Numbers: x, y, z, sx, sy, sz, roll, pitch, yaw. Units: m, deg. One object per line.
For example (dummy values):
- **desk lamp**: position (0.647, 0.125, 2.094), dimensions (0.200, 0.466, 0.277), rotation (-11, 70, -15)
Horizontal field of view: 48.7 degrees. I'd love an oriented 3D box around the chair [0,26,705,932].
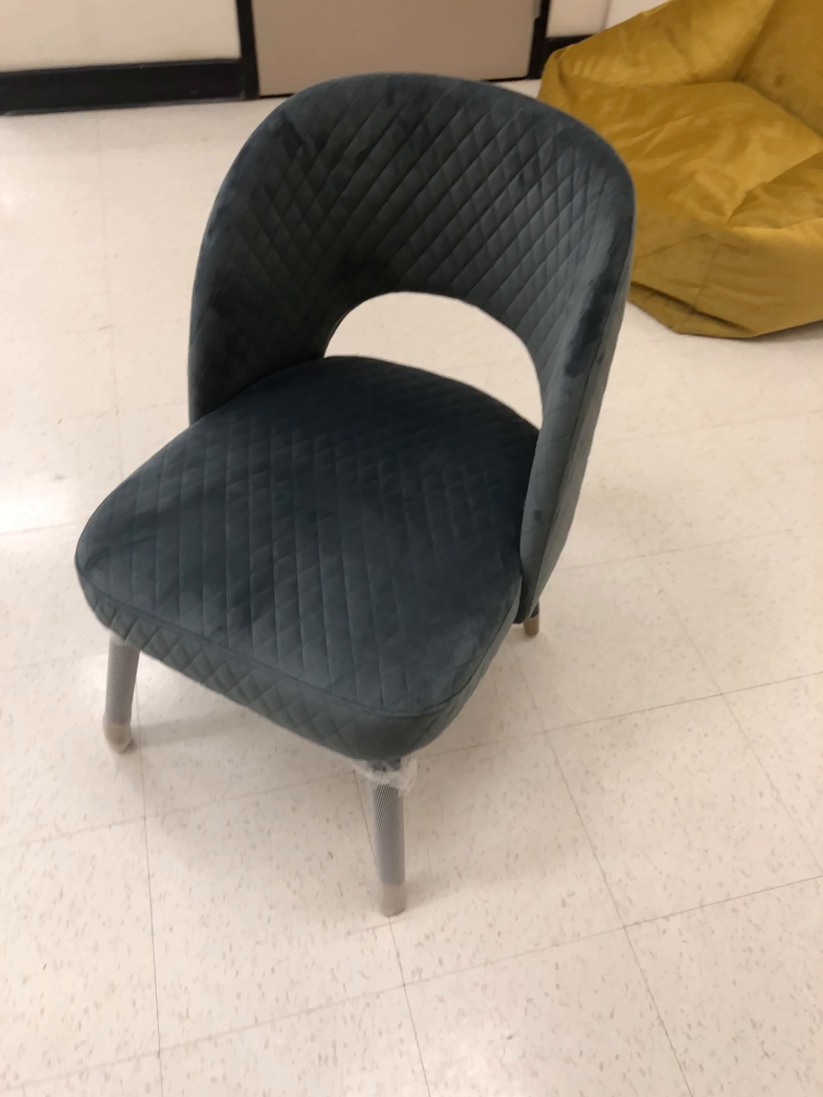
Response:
- **chair**: position (-0.087, -0.057, 1.161), dimensions (0.532, 0.857, 0.581), rotation (24, 51, 18)
